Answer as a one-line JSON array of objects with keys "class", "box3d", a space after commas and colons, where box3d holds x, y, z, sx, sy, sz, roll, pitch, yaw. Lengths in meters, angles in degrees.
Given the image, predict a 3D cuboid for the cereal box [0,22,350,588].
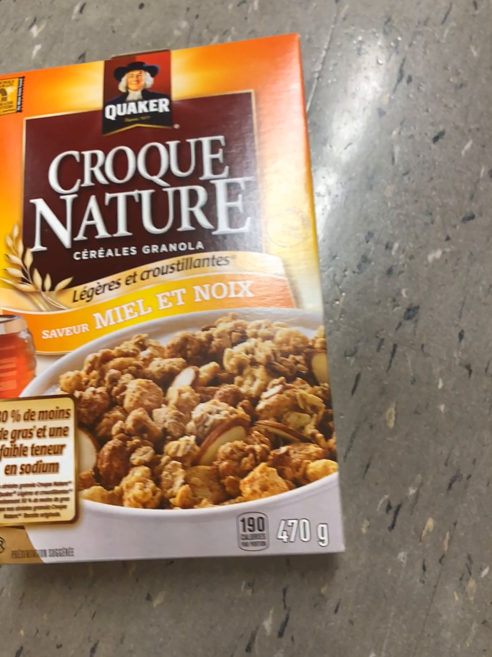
[{"class": "cereal box", "box3d": [-0.044, -0.012, 0.268, 0.160, 0.050, 0.240, -5, 80, 6]}]
